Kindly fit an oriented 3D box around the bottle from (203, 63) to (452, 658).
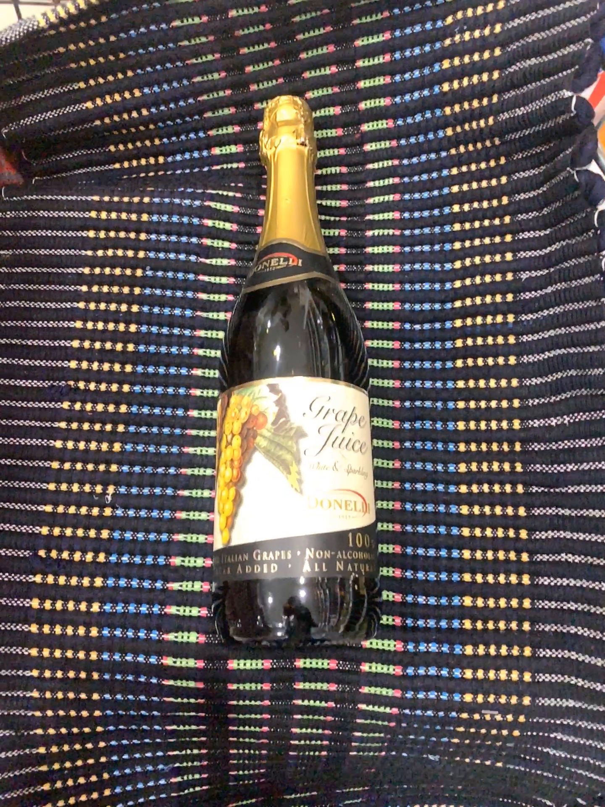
[{"bbox_3d":[0.001,-0.034,0.322,0.090,0.080,0.300,0,66,-6],"label":"bottle"}]
